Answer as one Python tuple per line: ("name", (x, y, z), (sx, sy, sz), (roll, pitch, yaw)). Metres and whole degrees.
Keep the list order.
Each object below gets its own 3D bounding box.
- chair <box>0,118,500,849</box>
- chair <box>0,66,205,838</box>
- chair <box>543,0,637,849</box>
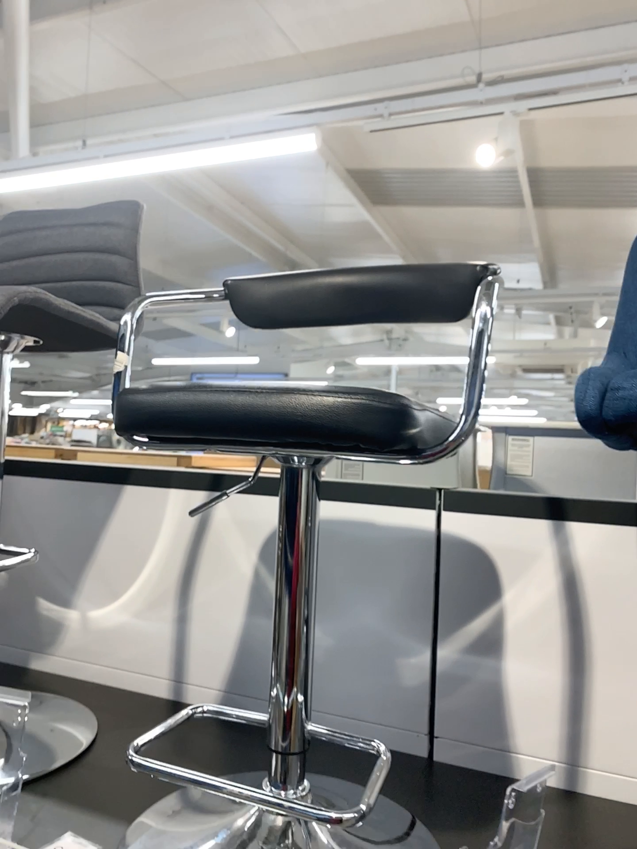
("chair", (-0.041, 0.132, 0.910), (0.511, 0.855, 0.466), (2, -4, 19))
("chair", (-0.583, 0.021, 1.207), (0.511, 1.065, 0.466), (2, -4, 19))
("chair", (0.555, 0.114, 0.715), (0.521, 0.955, 0.536), (1, -4, 23))
